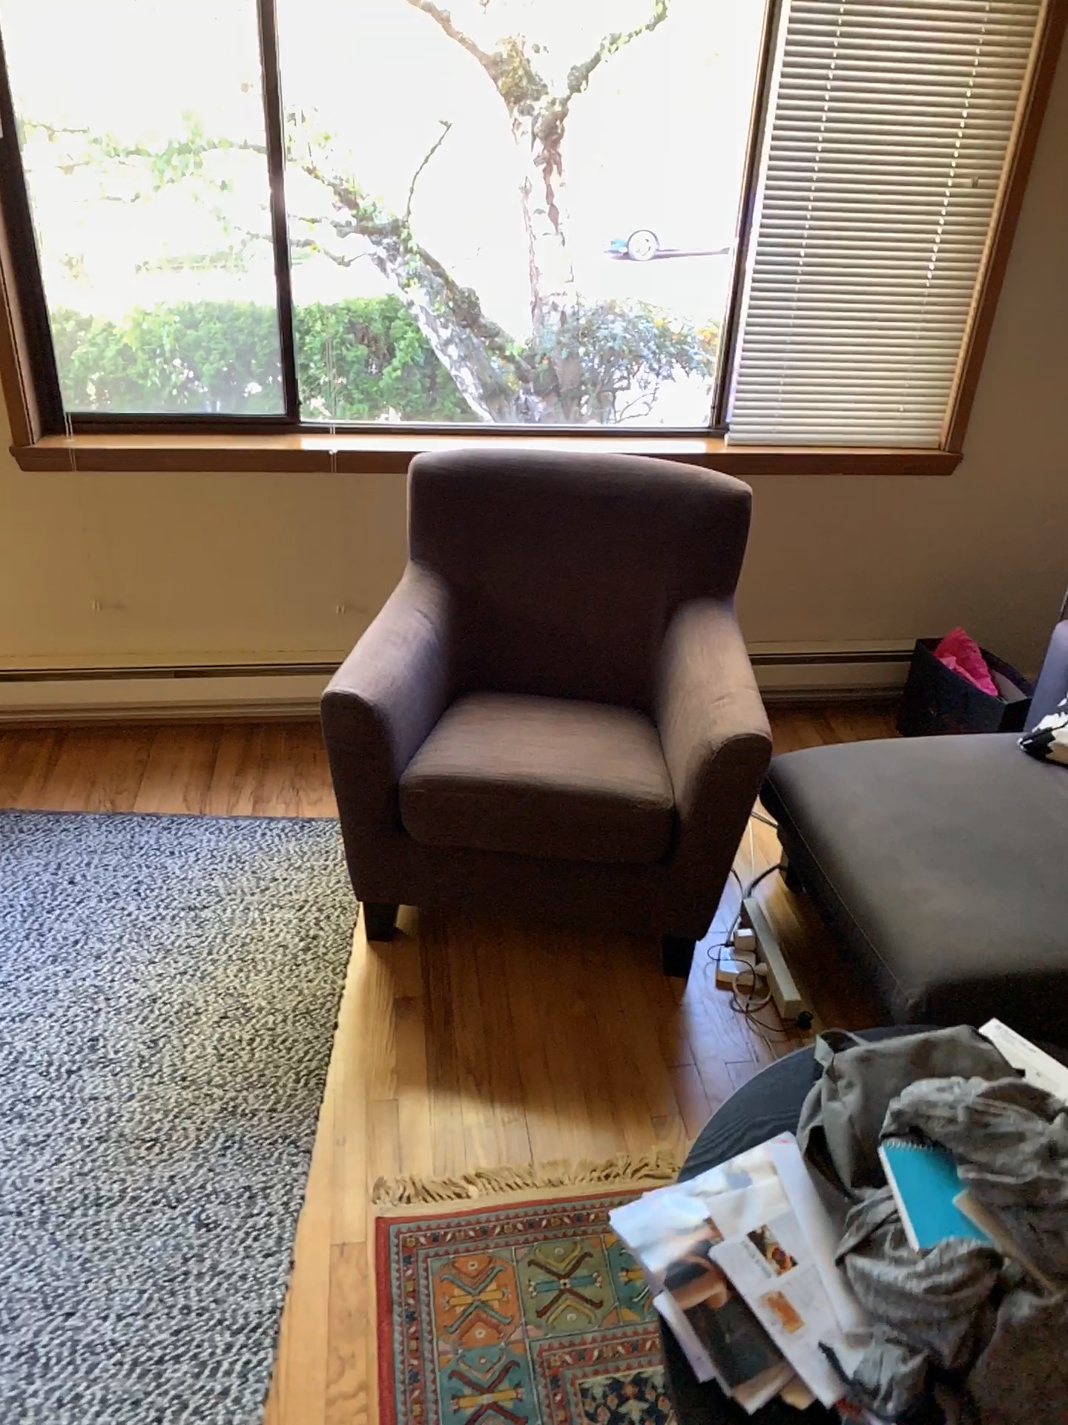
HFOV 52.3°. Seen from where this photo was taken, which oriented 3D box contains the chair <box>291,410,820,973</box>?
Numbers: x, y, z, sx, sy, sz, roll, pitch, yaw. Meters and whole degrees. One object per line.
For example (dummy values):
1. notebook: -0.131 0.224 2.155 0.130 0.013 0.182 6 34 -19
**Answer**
1. chair: 0.043 -0.094 2.354 0.880 0.875 0.805 5 27 3
